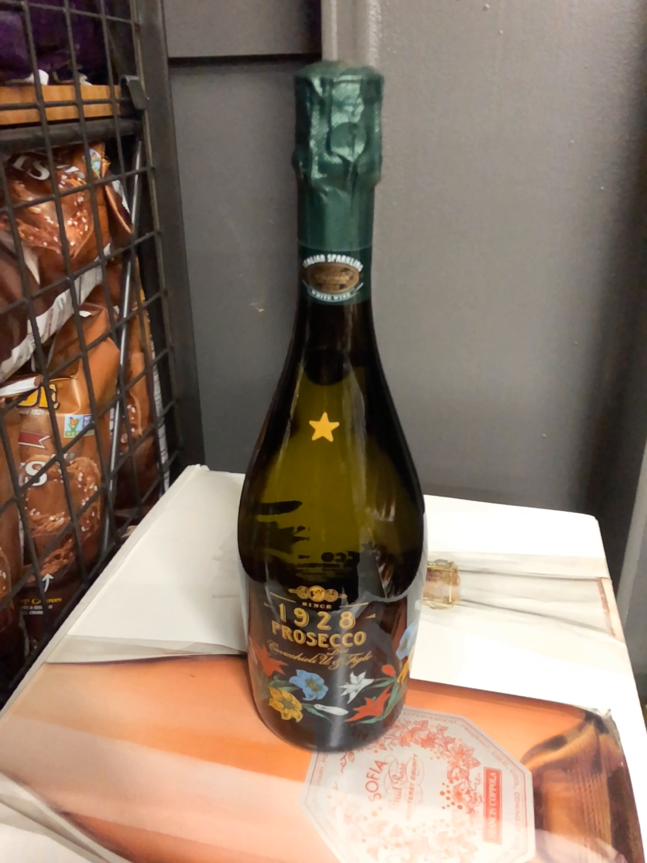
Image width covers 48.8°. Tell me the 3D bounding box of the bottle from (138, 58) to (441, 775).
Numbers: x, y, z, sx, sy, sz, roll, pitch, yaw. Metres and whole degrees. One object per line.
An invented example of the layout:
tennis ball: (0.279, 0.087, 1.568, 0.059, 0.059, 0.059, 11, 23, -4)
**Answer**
bottle: (-0.003, 0.004, 0.321, 0.090, 0.299, 0.090, -1, 25, 1)
